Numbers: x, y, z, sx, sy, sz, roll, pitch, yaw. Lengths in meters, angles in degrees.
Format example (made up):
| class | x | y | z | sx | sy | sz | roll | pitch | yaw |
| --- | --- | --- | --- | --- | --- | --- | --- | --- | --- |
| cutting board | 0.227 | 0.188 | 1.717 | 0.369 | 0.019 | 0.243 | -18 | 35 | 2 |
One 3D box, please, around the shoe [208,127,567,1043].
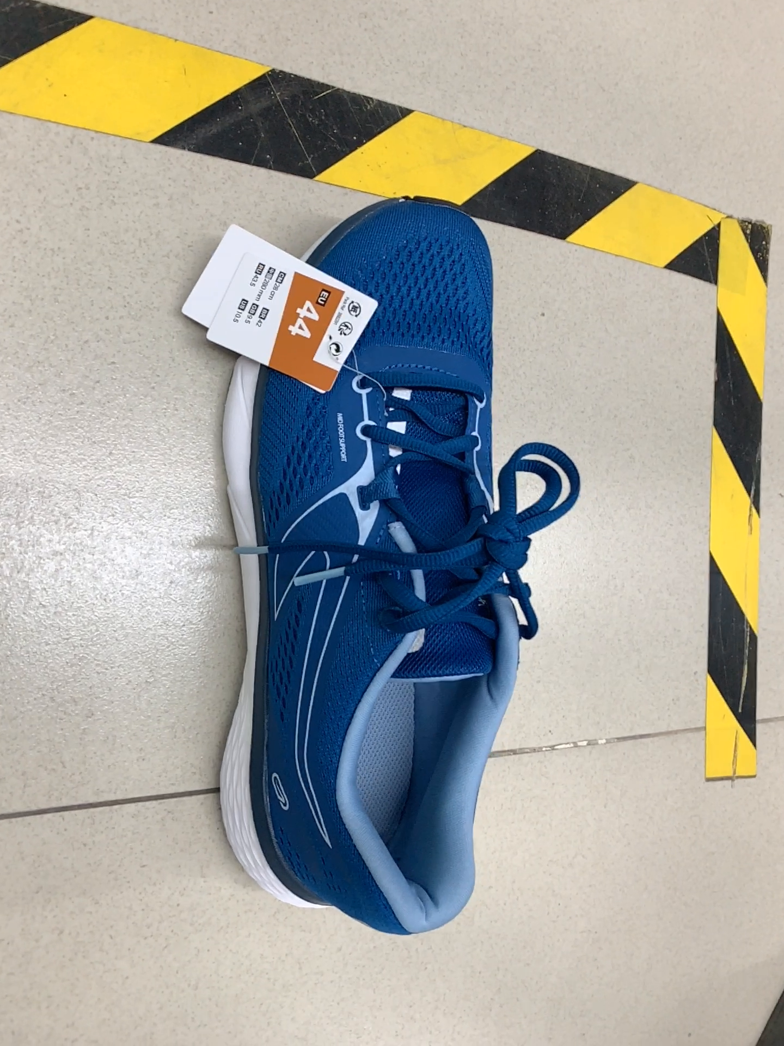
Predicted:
| class | x | y | z | sx | sy | sz | roll | pitch | yaw |
| --- | --- | --- | --- | --- | --- | --- | --- | --- | --- |
| shoe | 0.001 | 0.018 | 0.312 | 0.110 | 0.070 | 0.290 | 6 | 82 | -28 |
